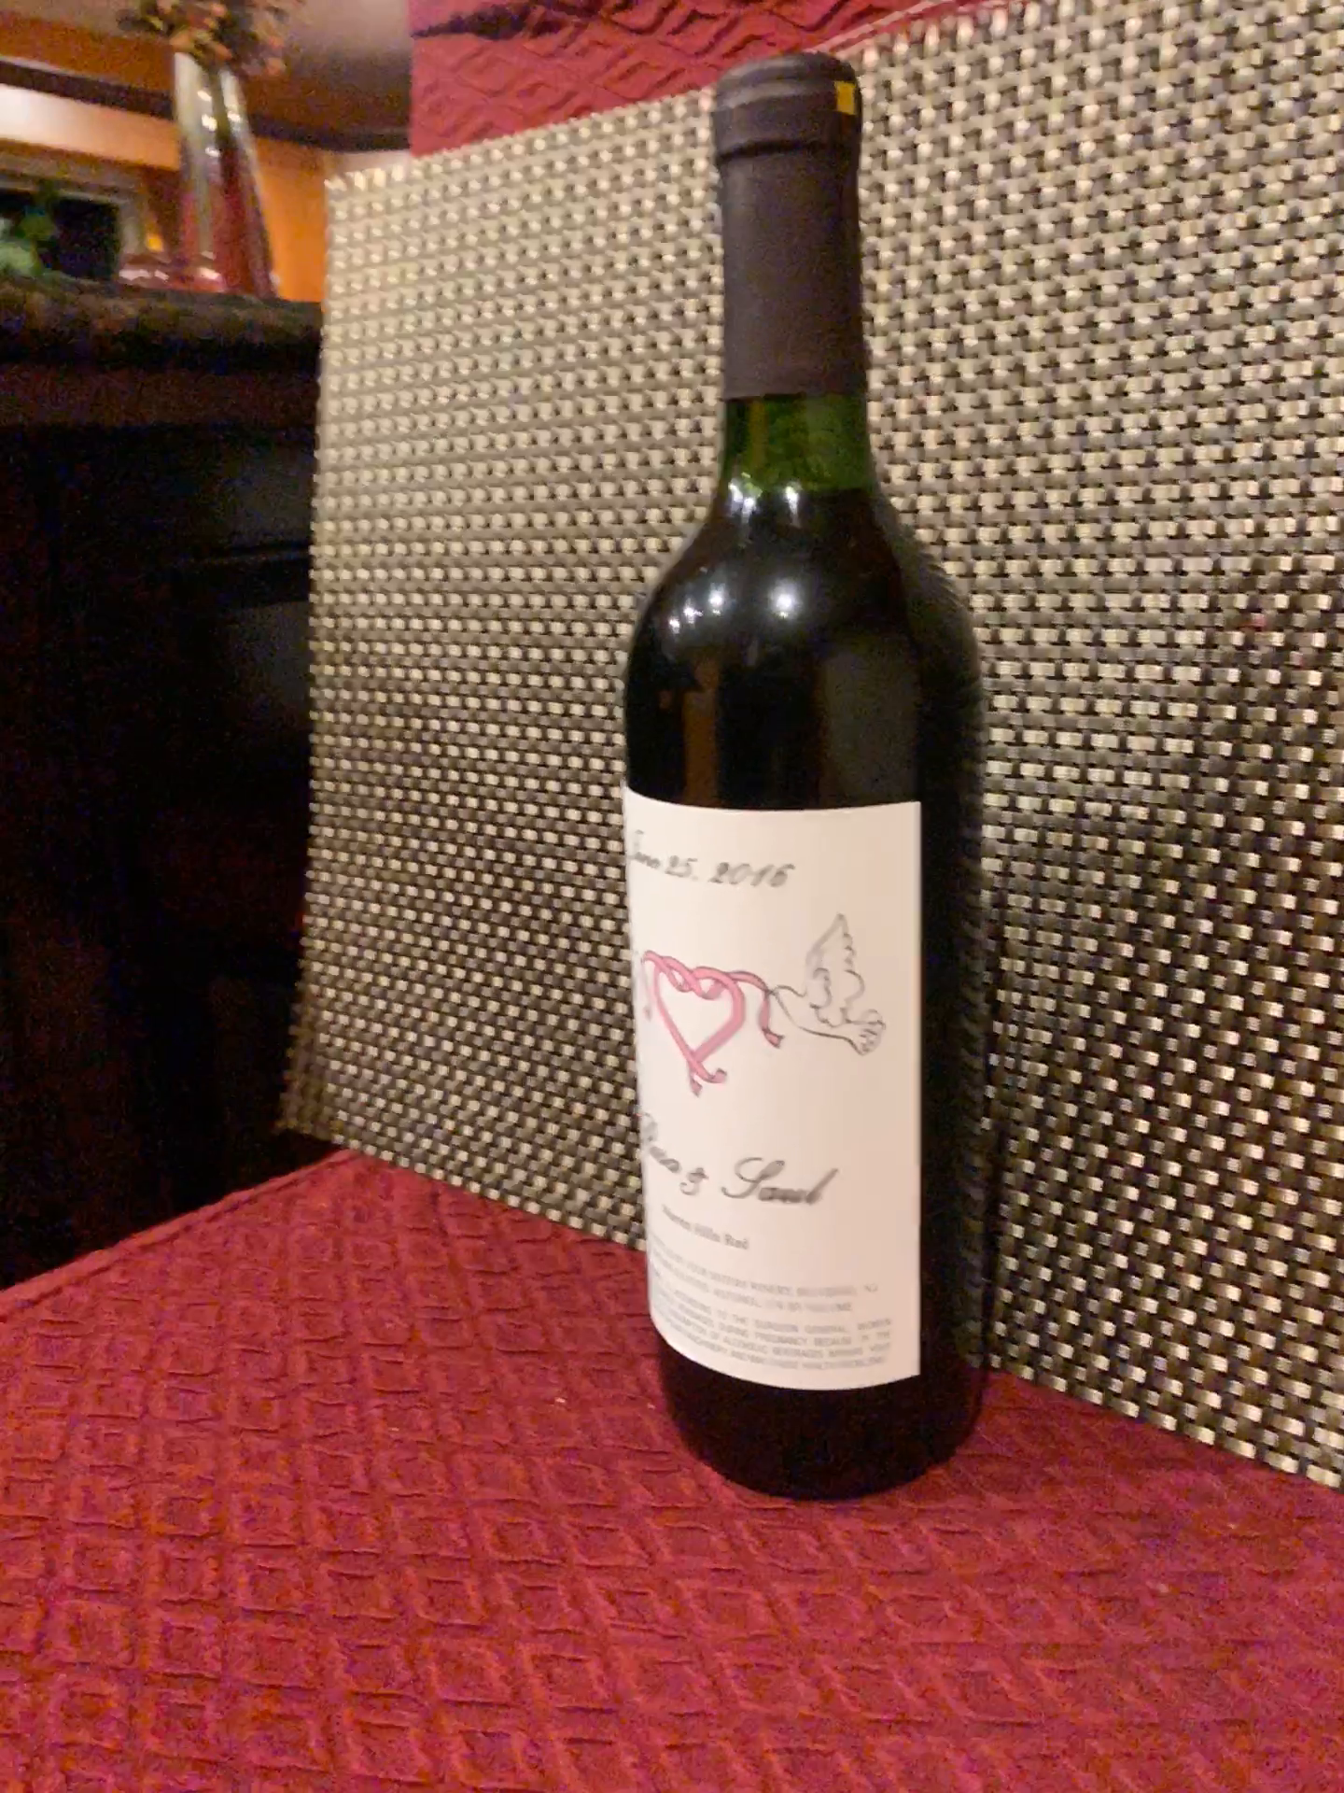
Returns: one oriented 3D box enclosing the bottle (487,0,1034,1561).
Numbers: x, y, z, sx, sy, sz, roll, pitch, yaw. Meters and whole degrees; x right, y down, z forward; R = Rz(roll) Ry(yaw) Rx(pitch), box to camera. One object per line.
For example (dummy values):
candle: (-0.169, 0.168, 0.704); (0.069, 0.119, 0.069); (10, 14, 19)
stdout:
bottle: (0.023, -0.017, 0.292); (0.080, 0.289, 0.060); (10, 20, 40)
